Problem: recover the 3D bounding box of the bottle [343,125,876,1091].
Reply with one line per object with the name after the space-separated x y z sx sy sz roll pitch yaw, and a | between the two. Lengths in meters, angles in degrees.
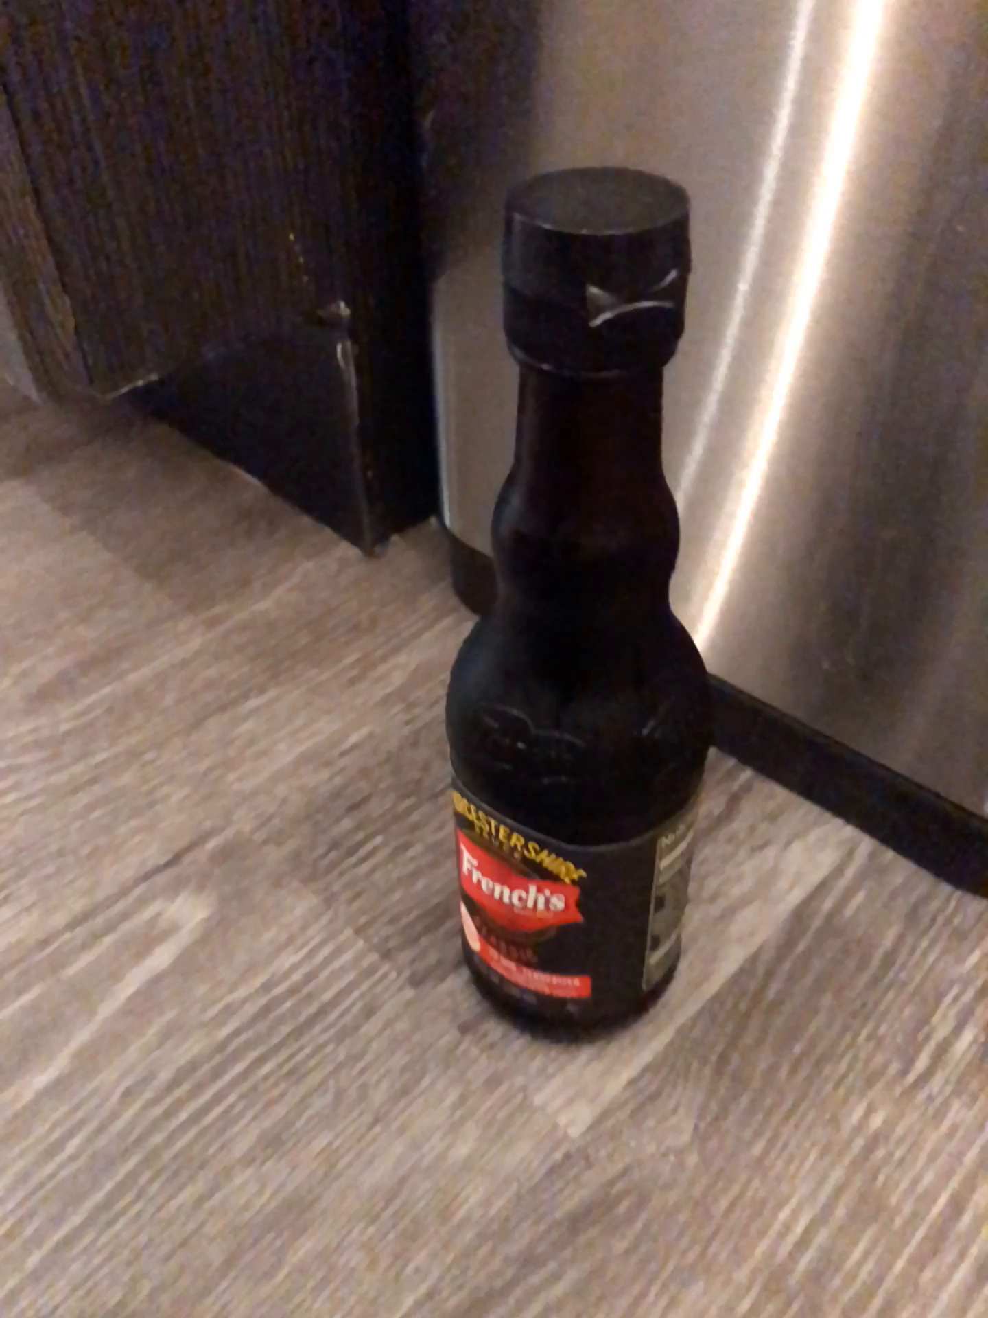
0.021 0.004 0.239 0.060 0.199 0.060 -1 41 1 | bottle
